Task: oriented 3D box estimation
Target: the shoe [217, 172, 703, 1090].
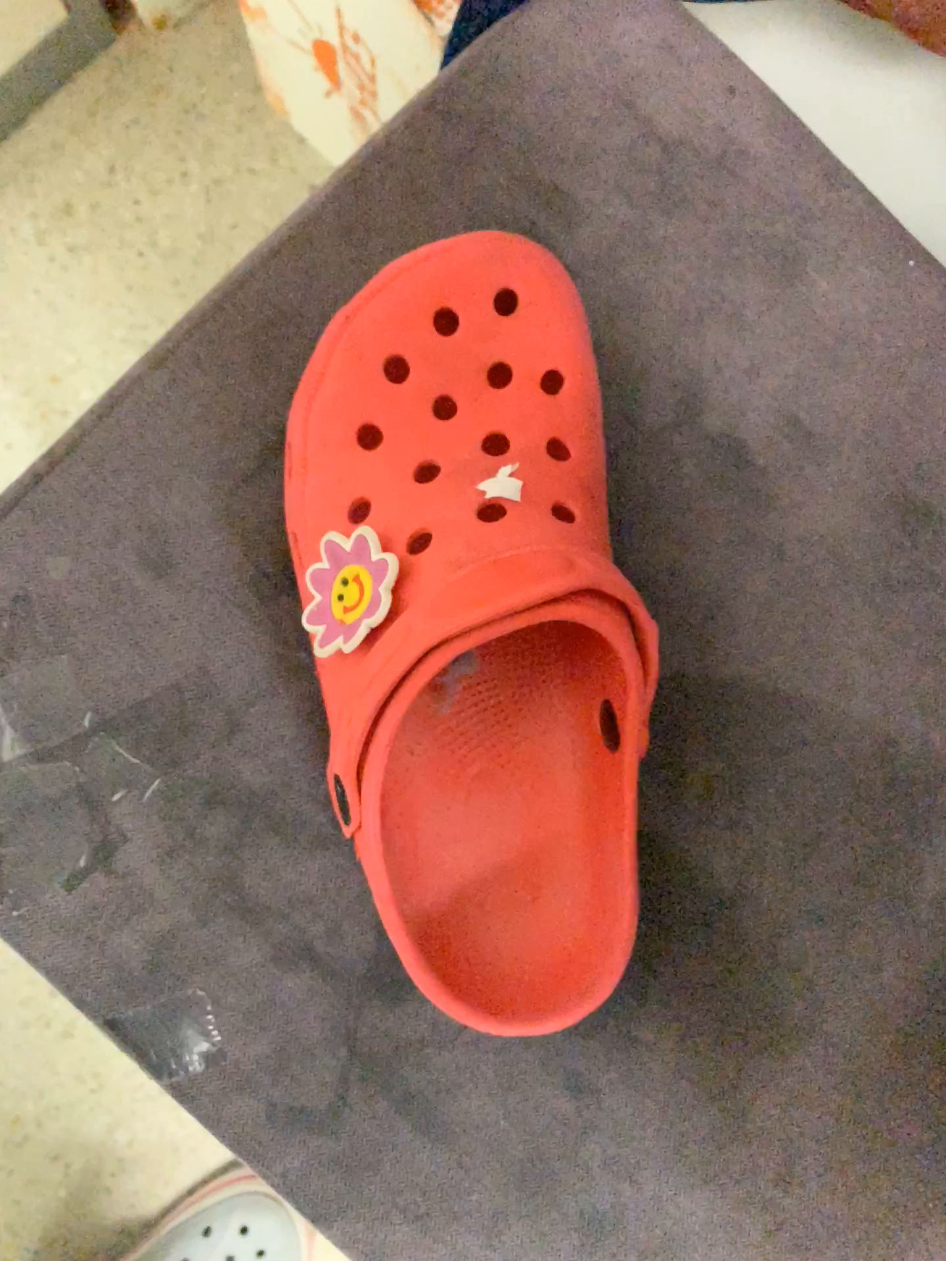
[{"bbox_3d":[-0.006,-0.002,0.272,0.092,0.081,0.208,-6,88,-4],"label":"shoe"}]
